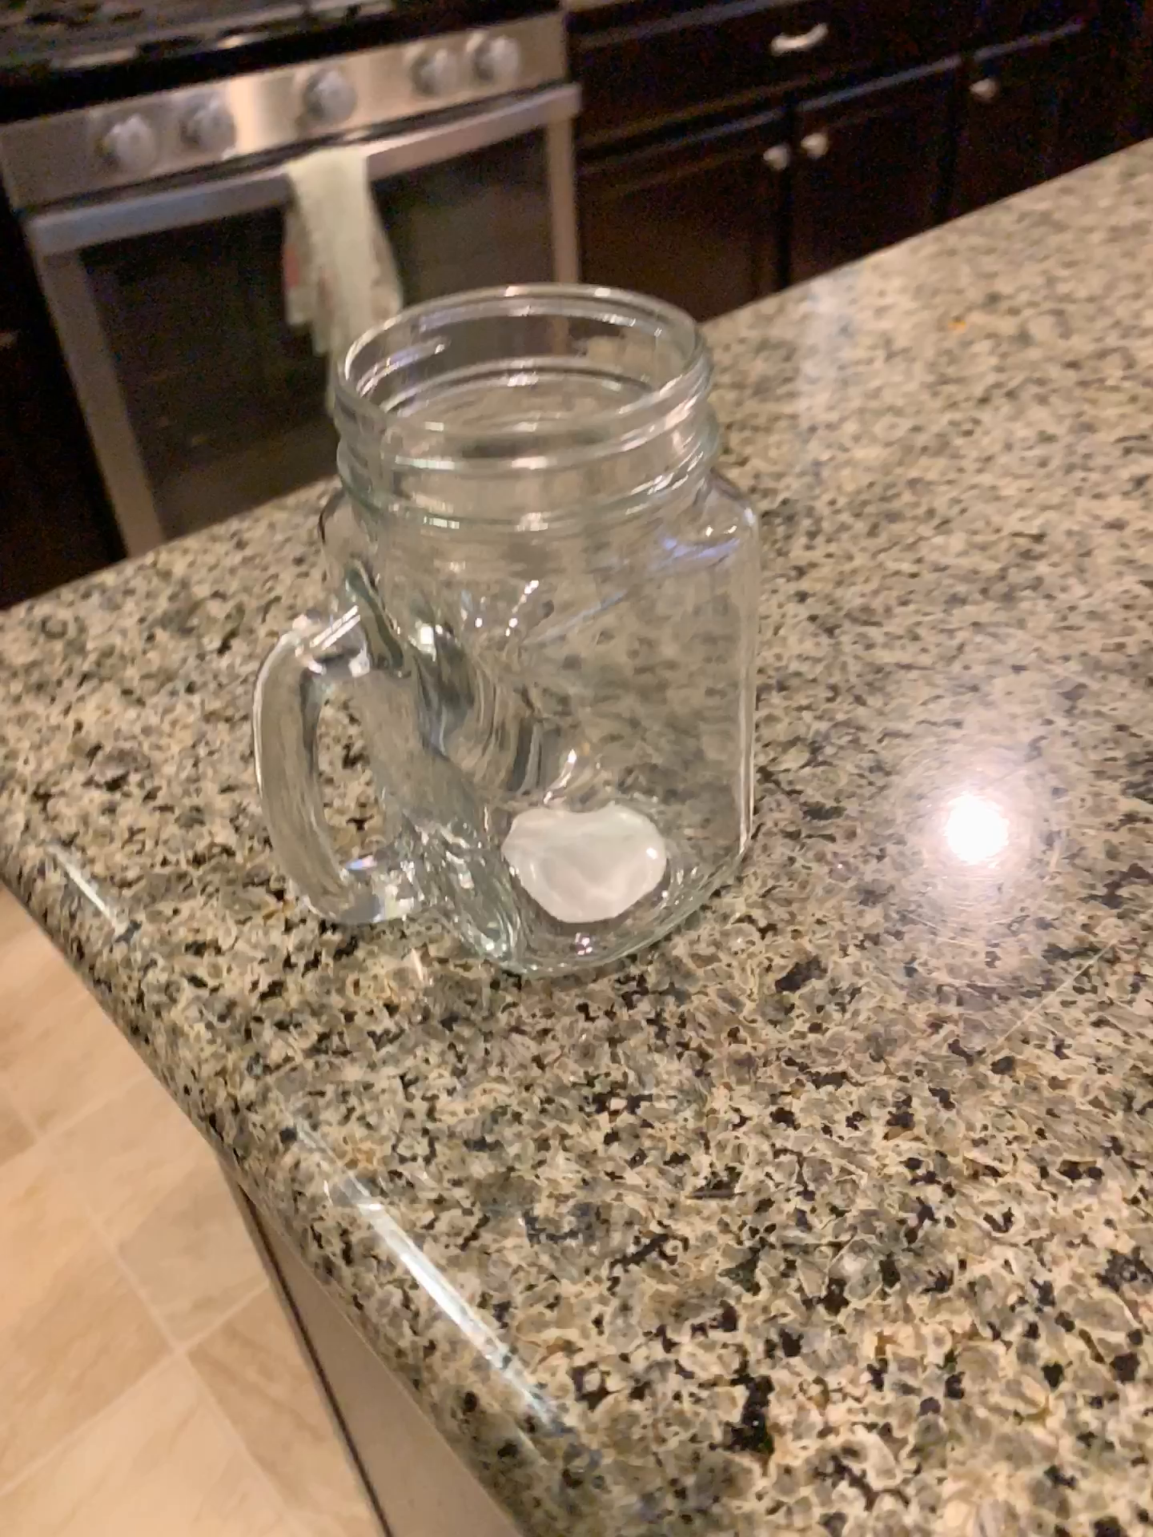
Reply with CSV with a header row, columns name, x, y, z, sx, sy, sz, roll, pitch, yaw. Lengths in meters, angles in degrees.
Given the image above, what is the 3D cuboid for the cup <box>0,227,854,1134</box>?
name,x,y,z,sx,sy,sz,roll,pitch,yaw
cup,-0.021,-0.023,0.238,0.120,0.119,0.081,-30,46,-28
